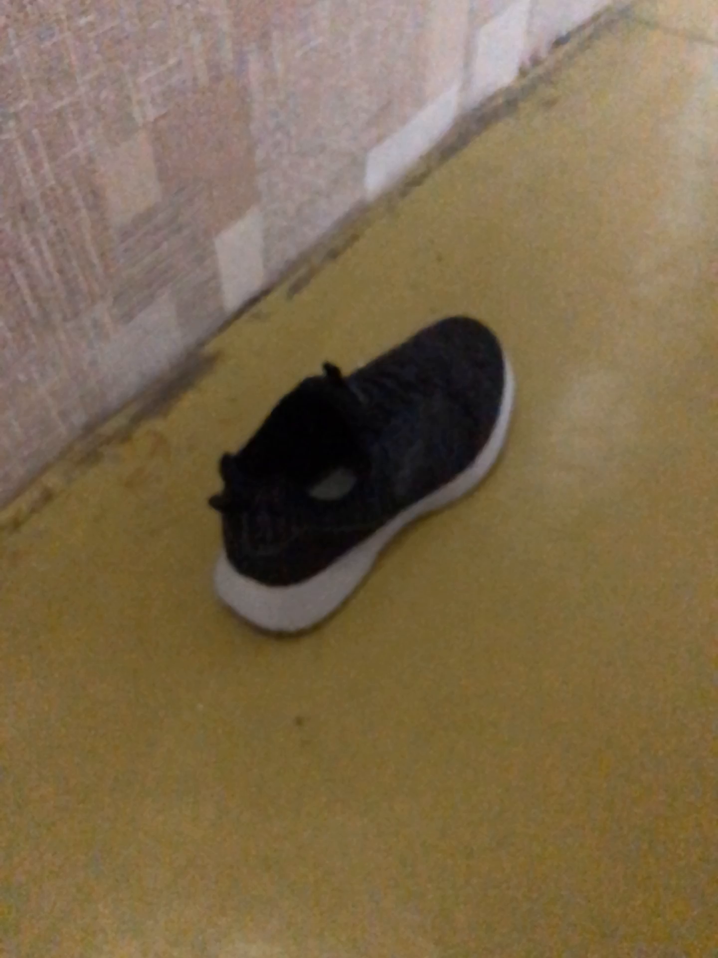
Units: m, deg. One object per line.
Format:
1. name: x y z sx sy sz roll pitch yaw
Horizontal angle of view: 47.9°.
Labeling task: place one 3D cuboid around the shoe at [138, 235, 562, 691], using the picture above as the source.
1. shoe: 0.009 -0.025 0.602 0.120 0.130 0.321 30 59 22
